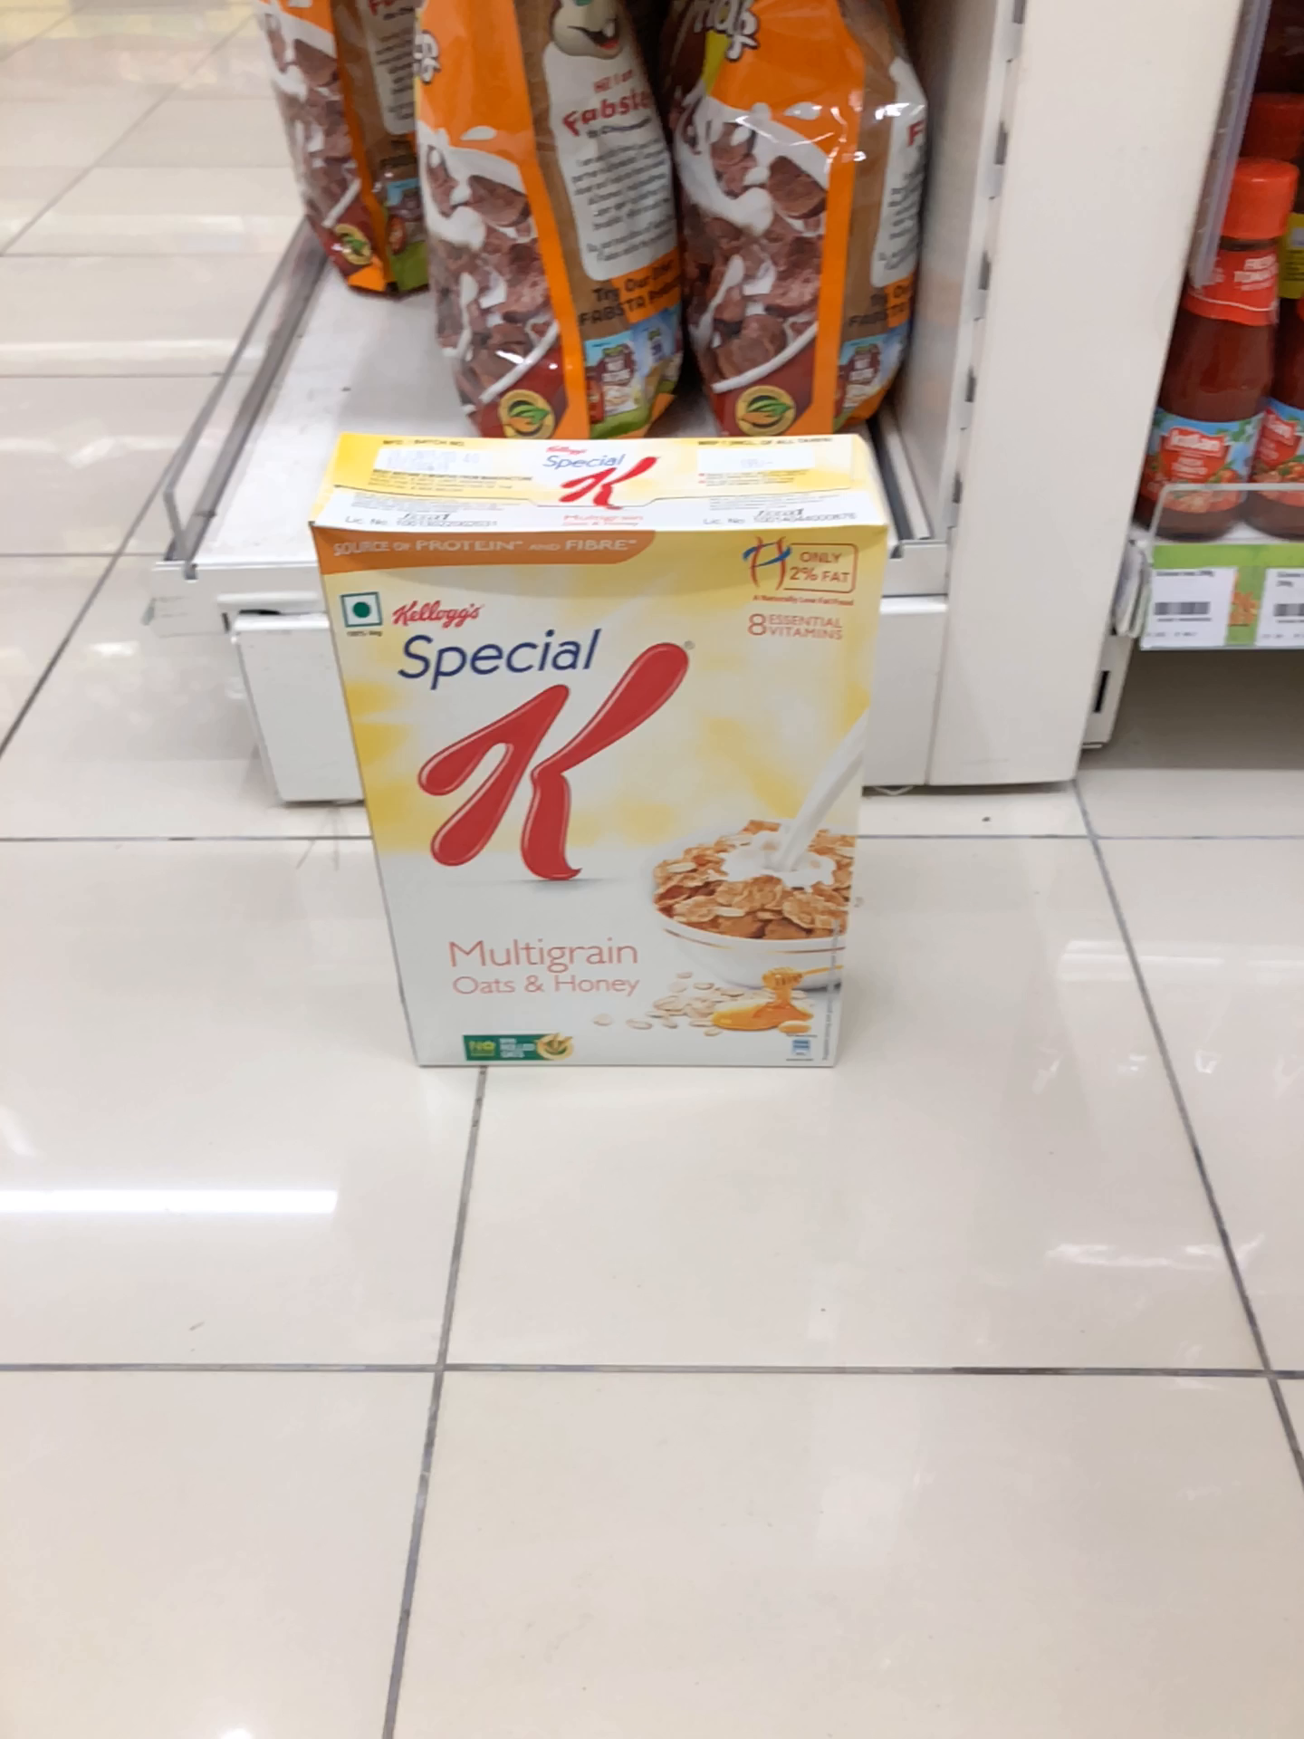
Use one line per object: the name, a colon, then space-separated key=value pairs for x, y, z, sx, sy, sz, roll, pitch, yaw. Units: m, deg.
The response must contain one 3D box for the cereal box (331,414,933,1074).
cereal box: x=-0.006 y=-0.036 z=0.569 sx=0.190 sy=0.268 sz=0.070 roll=0 pitch=41 yaw=0
